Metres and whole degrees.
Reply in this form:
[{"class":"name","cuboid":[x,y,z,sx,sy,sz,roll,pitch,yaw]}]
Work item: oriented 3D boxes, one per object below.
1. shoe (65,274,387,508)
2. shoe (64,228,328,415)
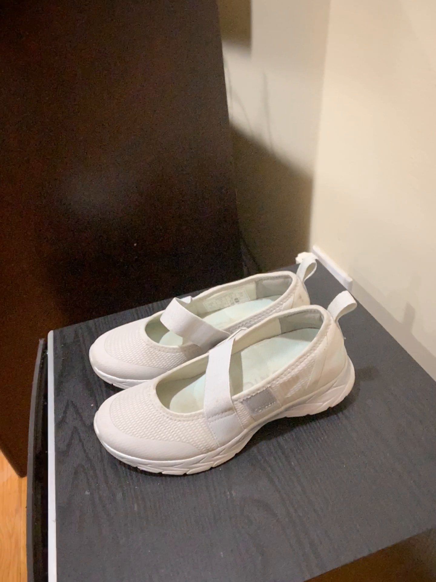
[{"class":"shoe","cuboid":[0.004,0.080,0.399,0.249,0.093,0.103,-15,37,-9]},{"class":"shoe","cuboid":[-0.023,0.026,0.477,0.249,0.093,0.103,-15,37,-9]}]
